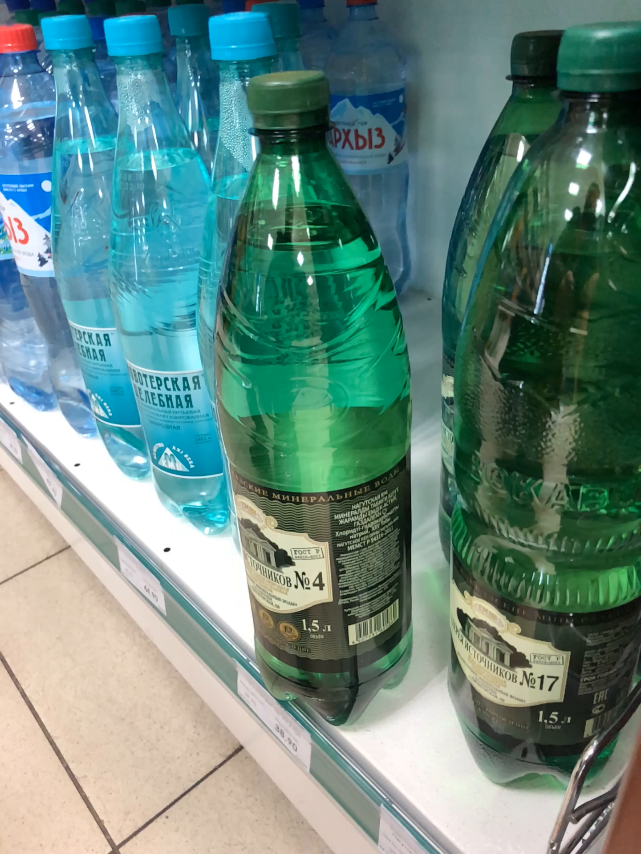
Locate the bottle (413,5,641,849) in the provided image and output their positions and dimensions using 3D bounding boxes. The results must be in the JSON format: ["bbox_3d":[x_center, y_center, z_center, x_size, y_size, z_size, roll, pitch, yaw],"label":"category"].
[{"bbox_3d":[0.099,0.024,0.285,0.082,0.326,0.092,-29,41,-31],"label":"bottle"}]

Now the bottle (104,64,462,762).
[{"bbox_3d":[-0.004,0.010,0.333,0.088,0.308,0.092,-3,34,2],"label":"bottle"}]

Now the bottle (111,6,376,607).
[{"bbox_3d":[-0.029,-0.051,0.411,0.076,0.326,0.084,-3,34,2],"label":"bottle"}]
